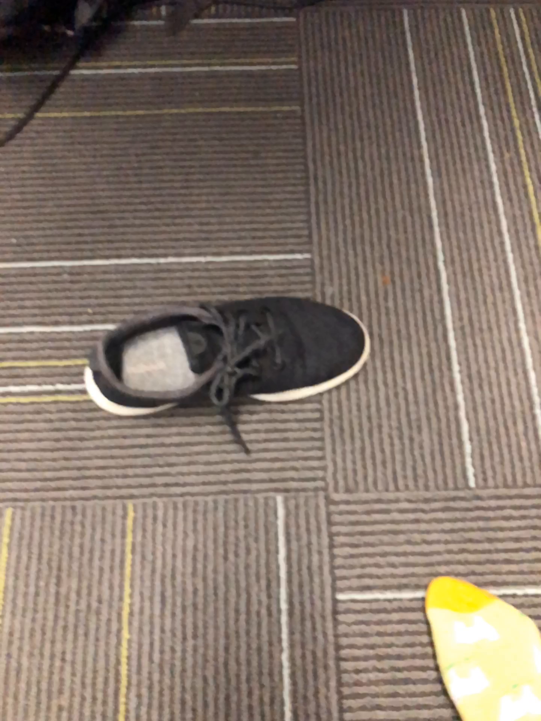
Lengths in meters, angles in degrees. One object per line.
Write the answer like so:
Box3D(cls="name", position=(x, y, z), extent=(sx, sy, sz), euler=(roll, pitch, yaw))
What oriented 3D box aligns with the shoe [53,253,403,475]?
Box3D(cls="shoe", position=(-0.041, 0.002, 0.548), extent=(0.280, 0.060, 0.140), euler=(-11, 70, -3))
